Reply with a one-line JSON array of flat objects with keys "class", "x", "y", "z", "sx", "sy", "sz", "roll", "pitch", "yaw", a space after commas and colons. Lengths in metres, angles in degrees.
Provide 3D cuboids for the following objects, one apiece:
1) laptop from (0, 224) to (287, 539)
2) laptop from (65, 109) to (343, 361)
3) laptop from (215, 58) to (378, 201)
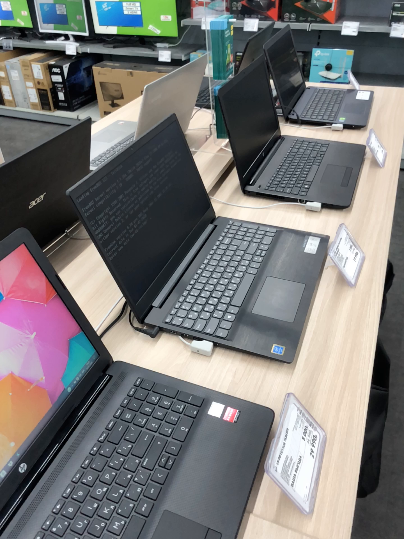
[{"class": "laptop", "x": -0.125, "y": 0.163, "z": 0.406, "sx": 0.320, "sy": 0.202, "sz": 0.353, "roll": 13, "pitch": 39, "yaw": 17}, {"class": "laptop", "x": 0.030, "y": -0.088, "z": 0.737, "sx": 0.321, "sy": 0.210, "sz": 0.342, "roll": 13, "pitch": 40, "yaw": 17}, {"class": "laptop", "x": 0.234, "y": -0.355, "z": 1.077, "sx": 0.297, "sy": 0.208, "sz": 0.339, "roll": 12, "pitch": 39, "yaw": 16}]
